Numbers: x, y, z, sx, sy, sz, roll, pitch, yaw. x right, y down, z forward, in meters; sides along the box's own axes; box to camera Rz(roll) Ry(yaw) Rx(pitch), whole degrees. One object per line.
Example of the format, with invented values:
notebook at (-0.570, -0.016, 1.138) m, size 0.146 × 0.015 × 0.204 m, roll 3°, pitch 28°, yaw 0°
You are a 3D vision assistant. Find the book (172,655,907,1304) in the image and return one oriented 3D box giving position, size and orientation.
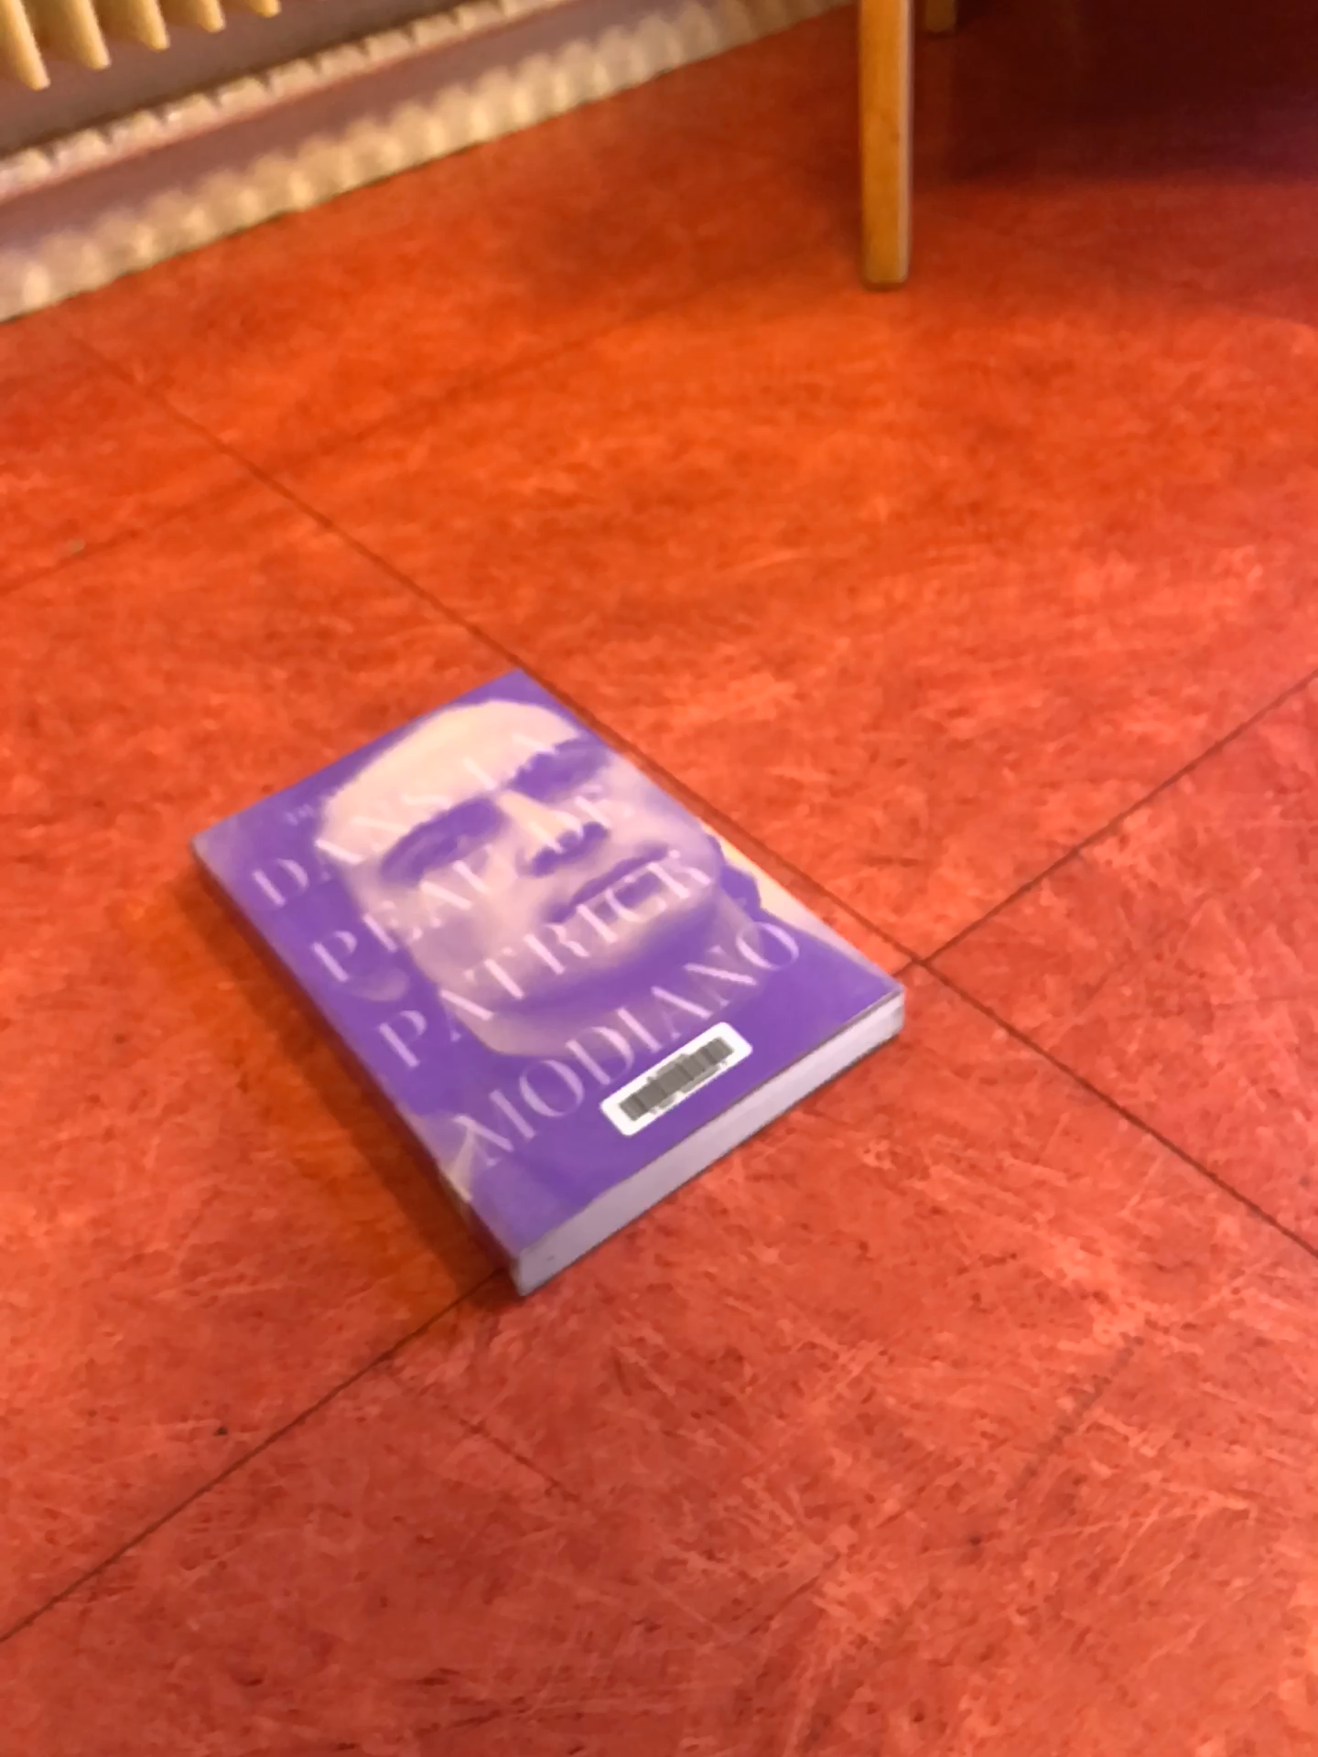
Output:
book at (-0.050, 0.015, 0.511) m, size 0.150 × 0.030 × 0.233 m, roll -30°, pitch 49°, yaw -22°
